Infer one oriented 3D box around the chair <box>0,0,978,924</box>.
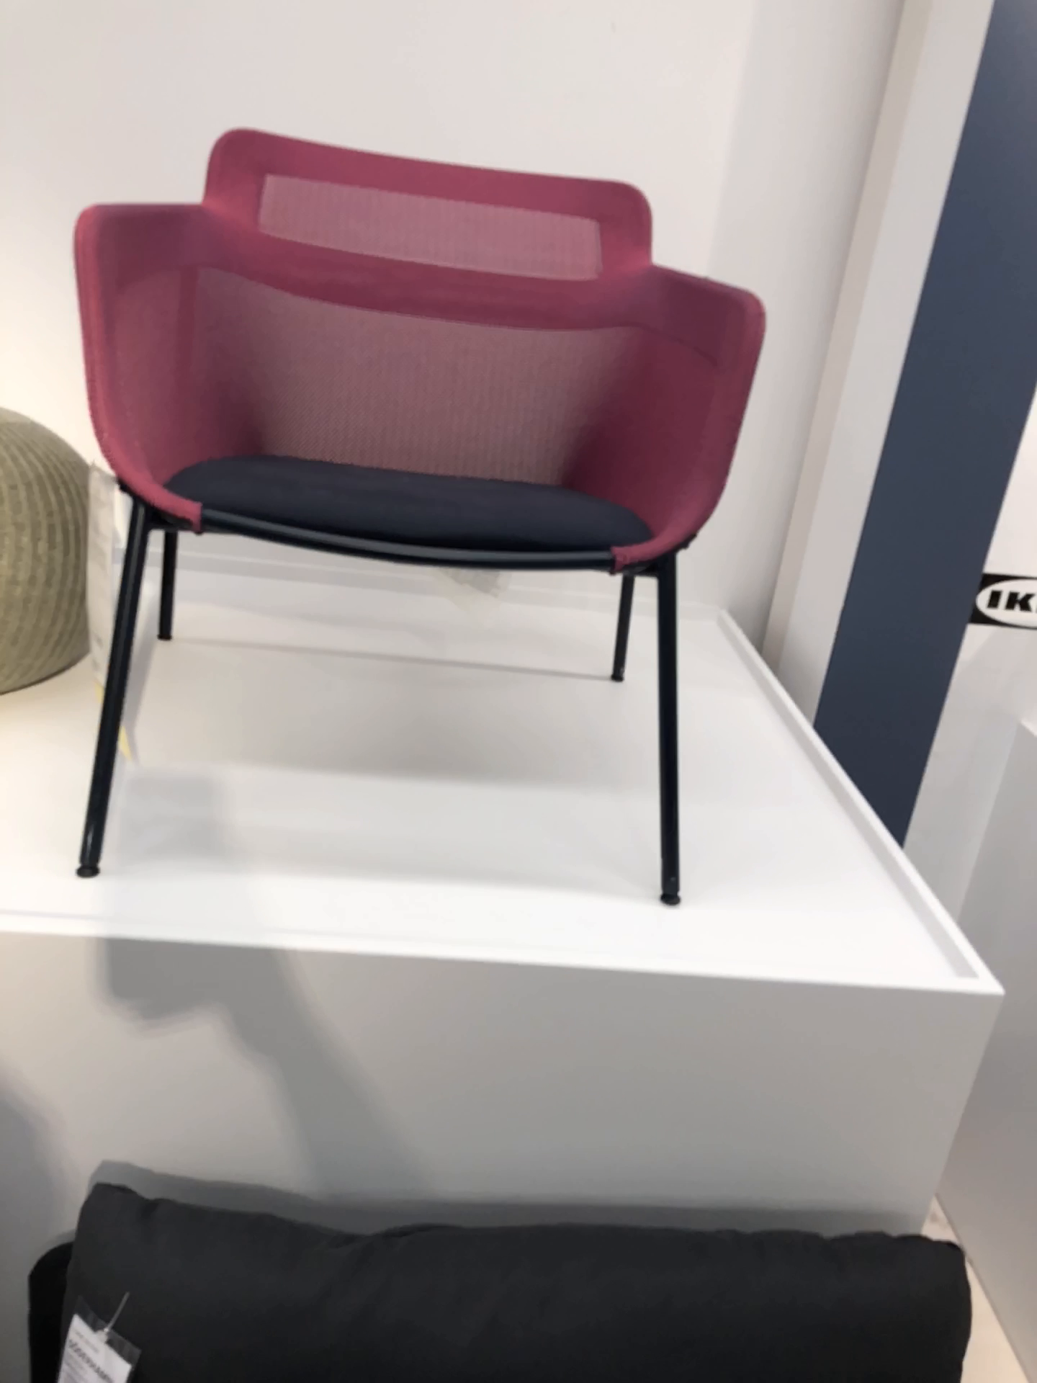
[{"bbox_3d":[-0.119,-0.331,1.443,0.780,0.747,1.014,5,22,-8],"label":"chair"}]
